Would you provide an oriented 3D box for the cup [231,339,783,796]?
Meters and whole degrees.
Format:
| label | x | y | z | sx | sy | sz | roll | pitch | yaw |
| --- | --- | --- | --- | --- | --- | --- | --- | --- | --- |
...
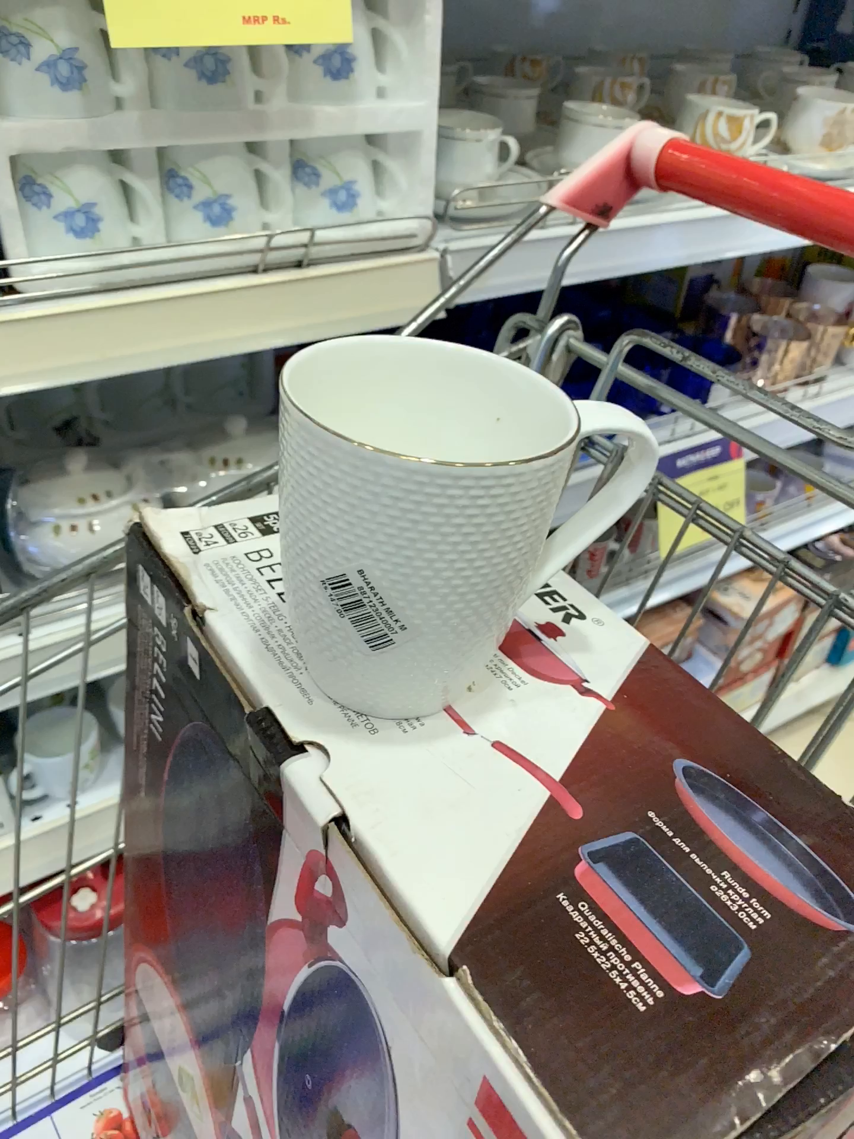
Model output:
| label | x | y | z | sx | sy | sz | roll | pitch | yaw |
| --- | --- | --- | --- | --- | --- | --- | --- | --- | --- |
| cup | 0.013 | -0.009 | 0.257 | 0.120 | 0.080 | 0.090 | -8 | 39 | -22 |
